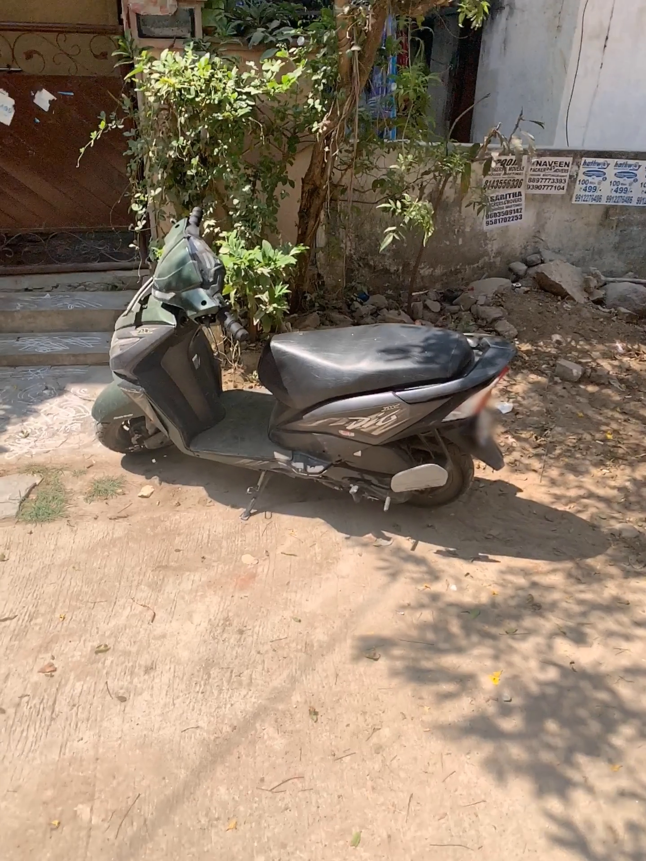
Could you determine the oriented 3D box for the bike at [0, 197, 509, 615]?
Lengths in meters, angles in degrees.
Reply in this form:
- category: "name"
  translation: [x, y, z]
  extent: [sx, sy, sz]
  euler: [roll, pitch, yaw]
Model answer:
- category: "bike"
  translation: [-0.217, -0.106, 2.334]
  extent: [1.528, 1.175, 0.626]
  euler: [7, 29, 6]
